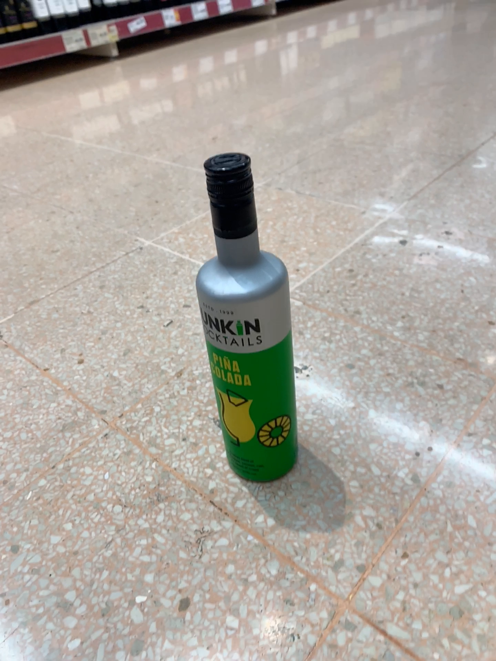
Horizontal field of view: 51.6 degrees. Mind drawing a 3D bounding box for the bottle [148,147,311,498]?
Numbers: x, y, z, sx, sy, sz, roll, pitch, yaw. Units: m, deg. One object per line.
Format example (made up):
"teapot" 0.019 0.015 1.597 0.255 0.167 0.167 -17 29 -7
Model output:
"bottle" -0.002 0.008 0.420 0.074 0.284 0.067 23 46 34
